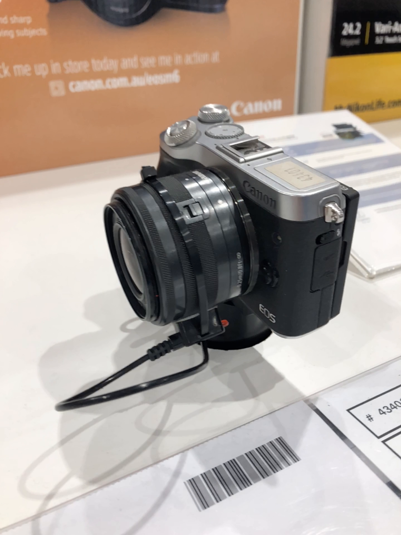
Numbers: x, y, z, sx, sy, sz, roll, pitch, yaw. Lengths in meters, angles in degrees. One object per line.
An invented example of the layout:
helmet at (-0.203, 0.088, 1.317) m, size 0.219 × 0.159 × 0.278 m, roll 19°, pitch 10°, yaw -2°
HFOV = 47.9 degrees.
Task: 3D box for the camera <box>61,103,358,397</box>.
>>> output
camera at (-0.002, -0.019, 0.204) m, size 0.083 × 0.075 × 0.103 m, roll -18°, pitch 36°, yaw -21°
